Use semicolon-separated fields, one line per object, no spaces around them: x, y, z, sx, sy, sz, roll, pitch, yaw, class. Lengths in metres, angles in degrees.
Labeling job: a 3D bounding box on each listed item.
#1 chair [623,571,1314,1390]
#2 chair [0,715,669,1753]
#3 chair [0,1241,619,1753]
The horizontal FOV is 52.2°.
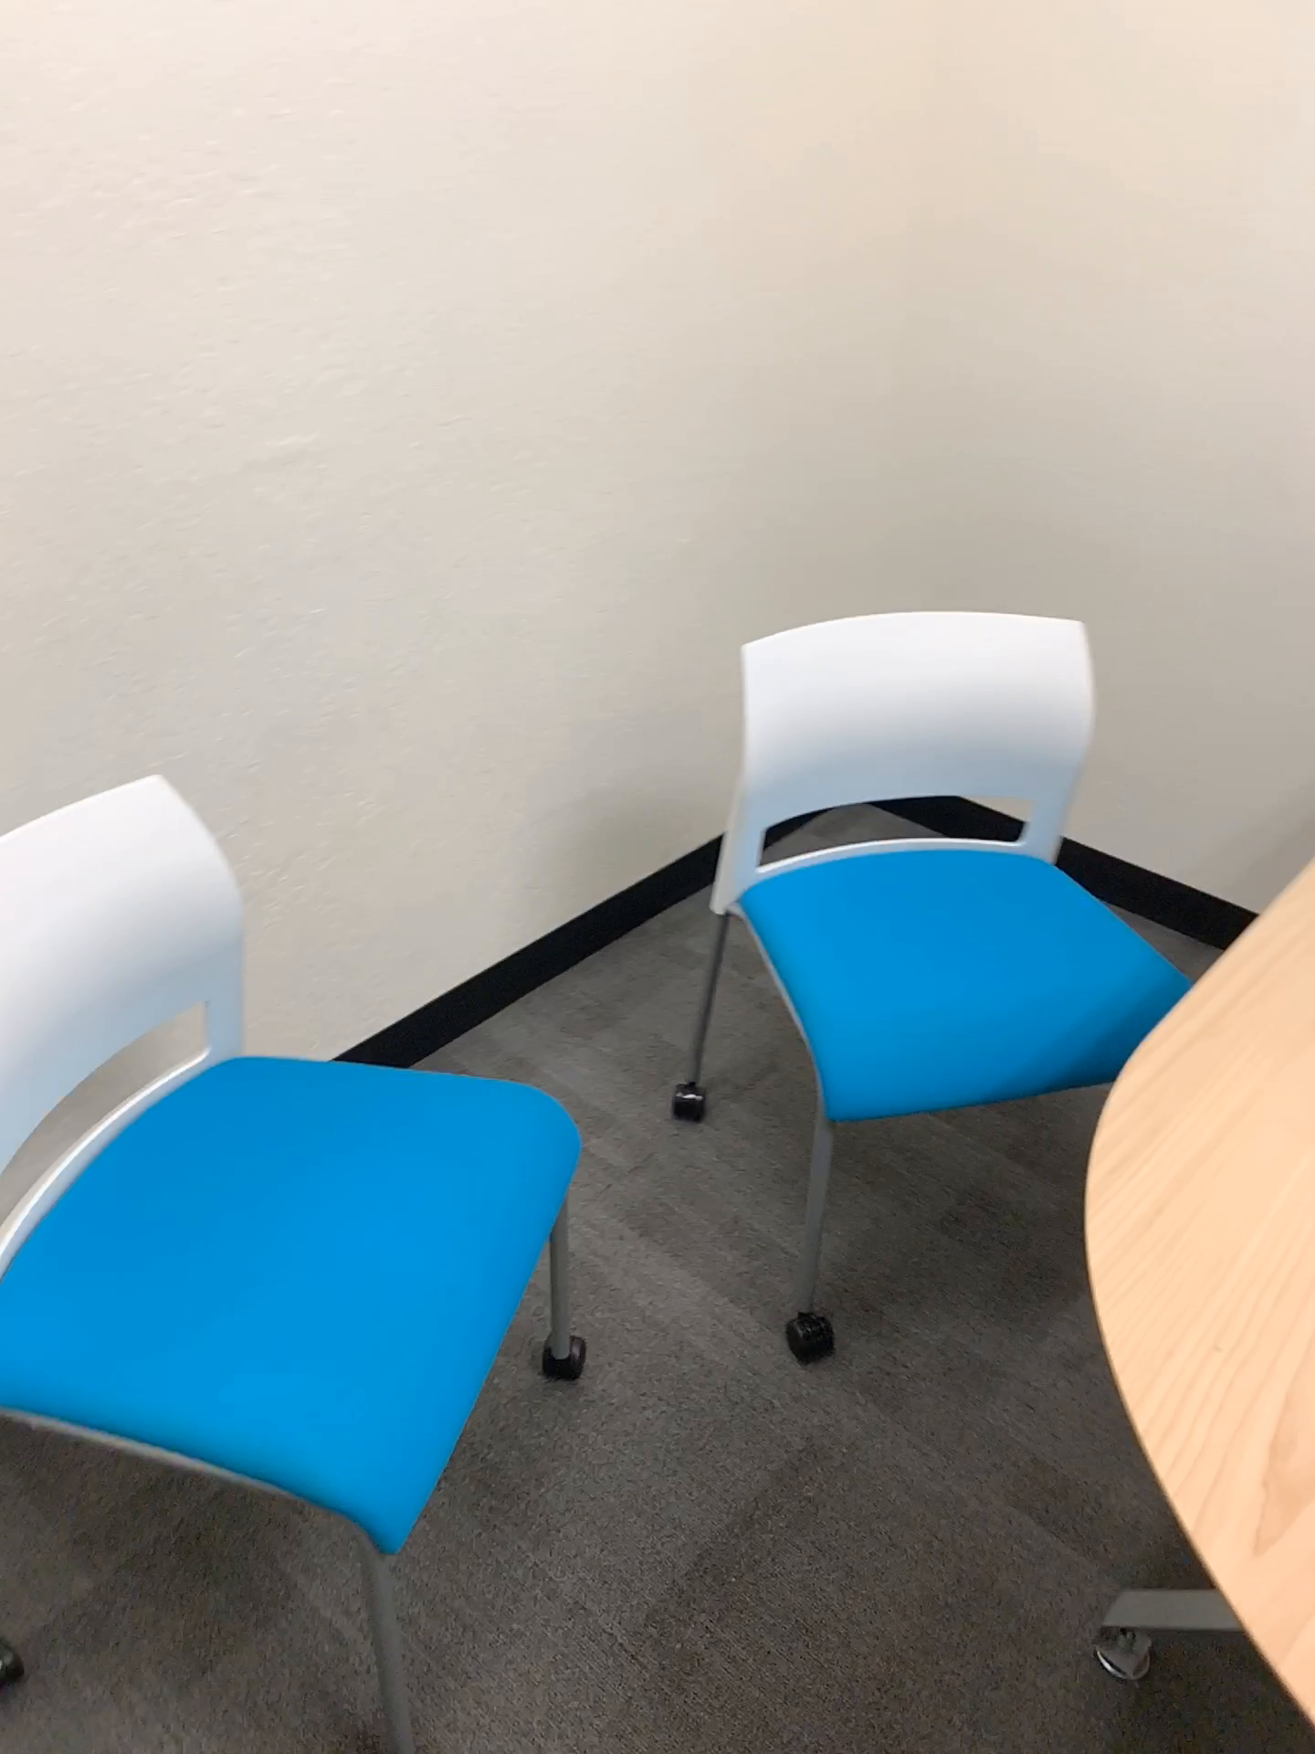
0.406;0.092;1.858;0.750;0.765;0.694;-8;33;-14;chair
-0.417;0.364;1.334;0.691;0.756;0.643;10;33;13;chair
-0.416;0.733;0.723;0.690;0.716;0.644;5;32;6;chair
